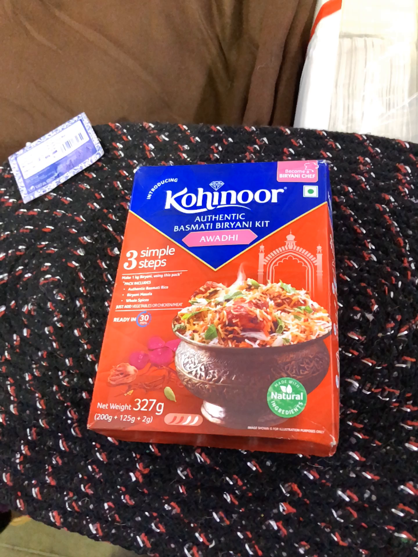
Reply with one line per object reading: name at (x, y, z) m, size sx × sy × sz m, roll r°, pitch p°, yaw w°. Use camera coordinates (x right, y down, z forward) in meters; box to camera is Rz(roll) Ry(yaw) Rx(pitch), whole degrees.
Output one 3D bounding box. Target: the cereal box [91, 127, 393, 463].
cereal box at (0.022, 0.003, 0.268) m, size 0.140 × 0.040 × 0.181 m, roll -1°, pitch 65°, yaw 14°
